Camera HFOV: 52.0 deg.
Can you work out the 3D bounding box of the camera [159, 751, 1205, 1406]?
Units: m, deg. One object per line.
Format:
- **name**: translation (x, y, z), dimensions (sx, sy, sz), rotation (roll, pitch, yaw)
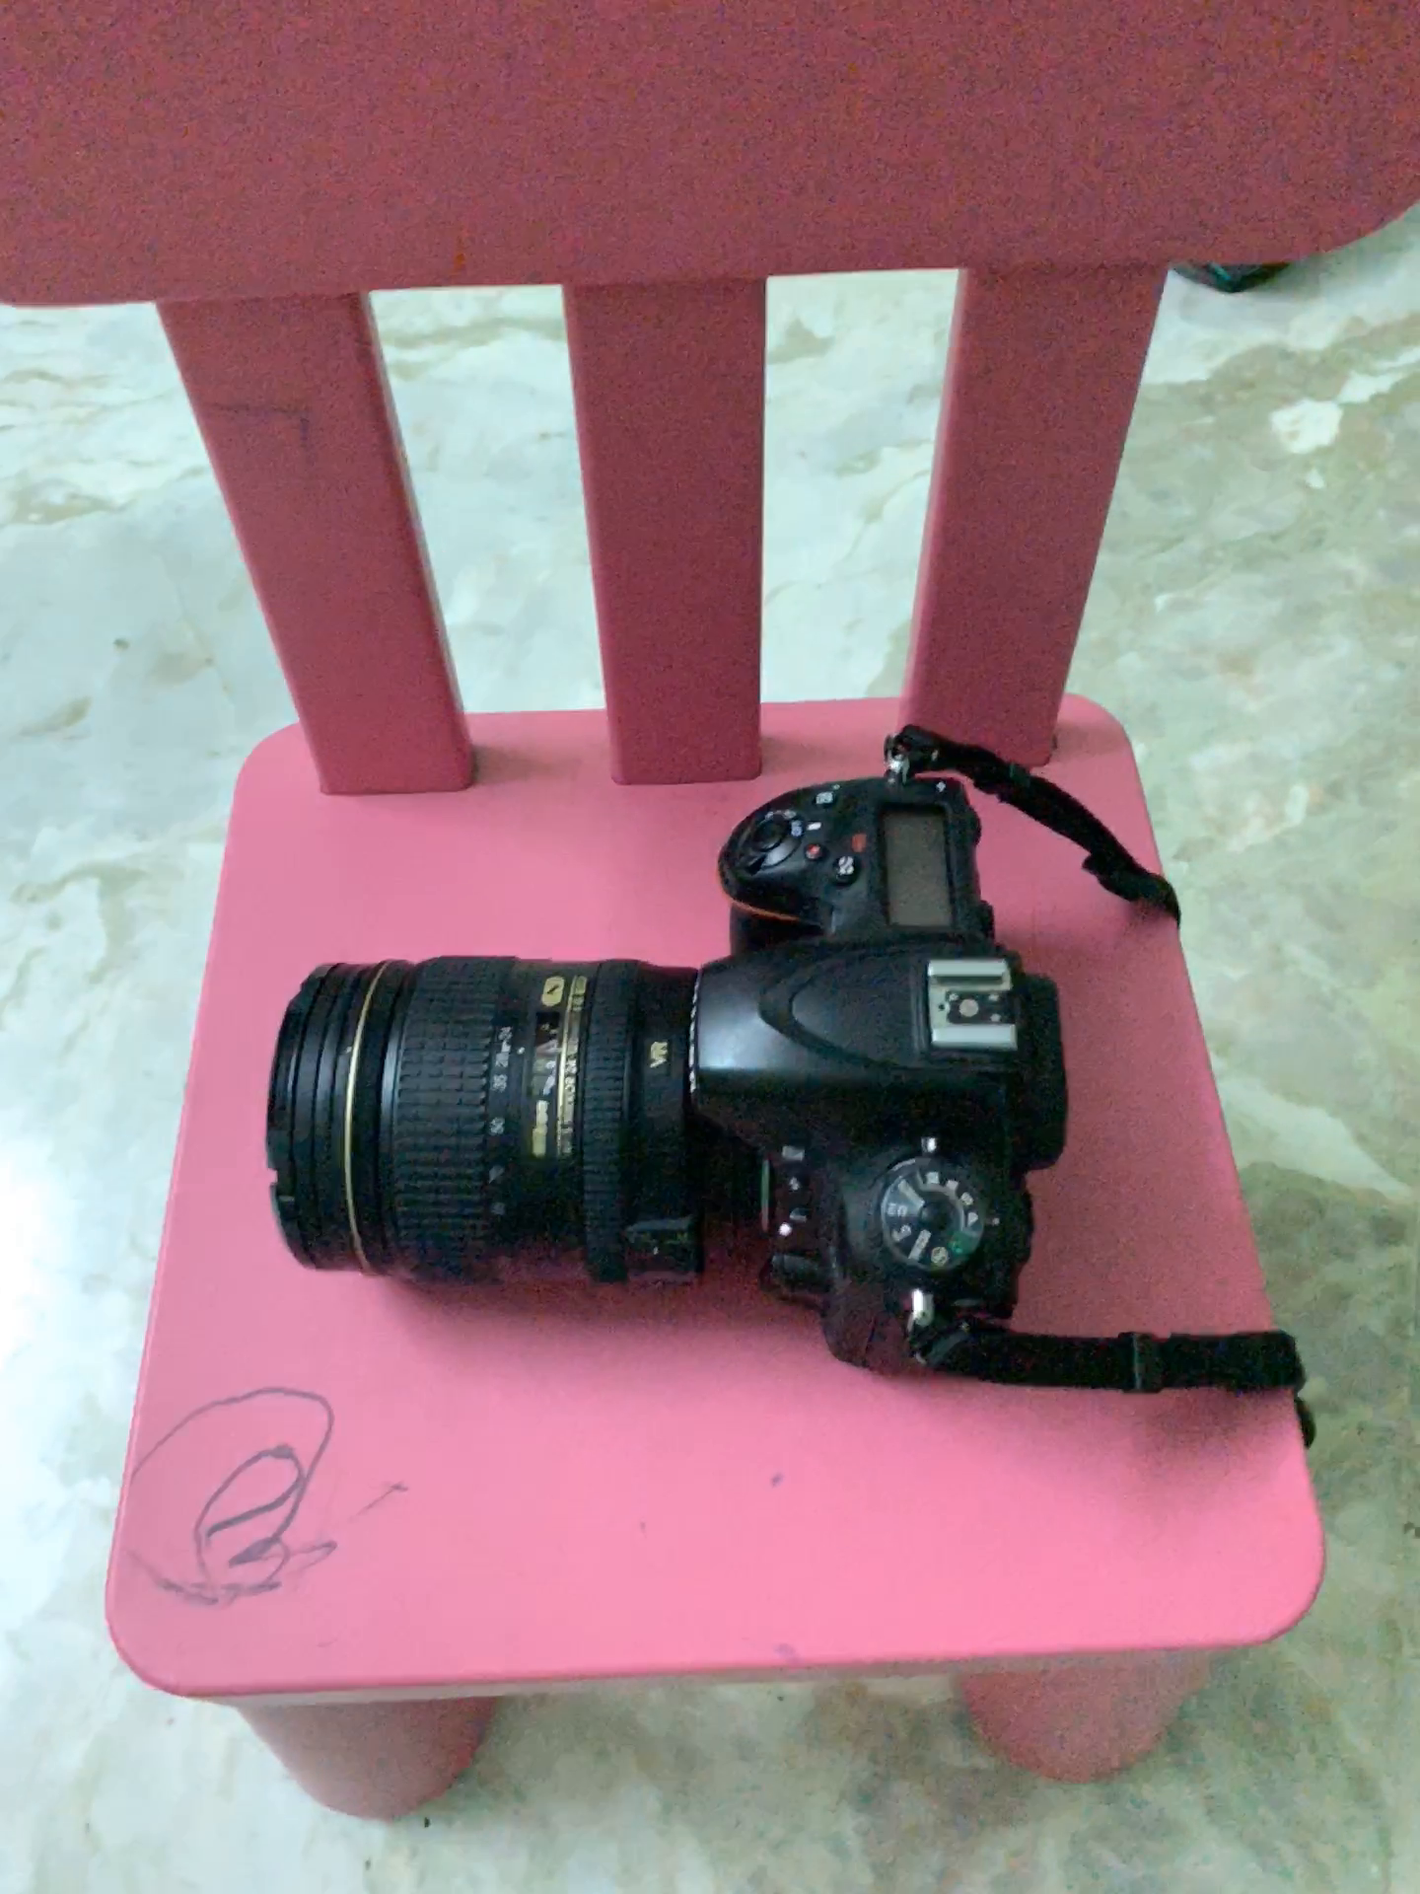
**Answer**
- **camera**: translation (-0.006, 0.033, 0.361), dimensions (0.210, 0.080, 0.140), rotation (0, 61, 1)
